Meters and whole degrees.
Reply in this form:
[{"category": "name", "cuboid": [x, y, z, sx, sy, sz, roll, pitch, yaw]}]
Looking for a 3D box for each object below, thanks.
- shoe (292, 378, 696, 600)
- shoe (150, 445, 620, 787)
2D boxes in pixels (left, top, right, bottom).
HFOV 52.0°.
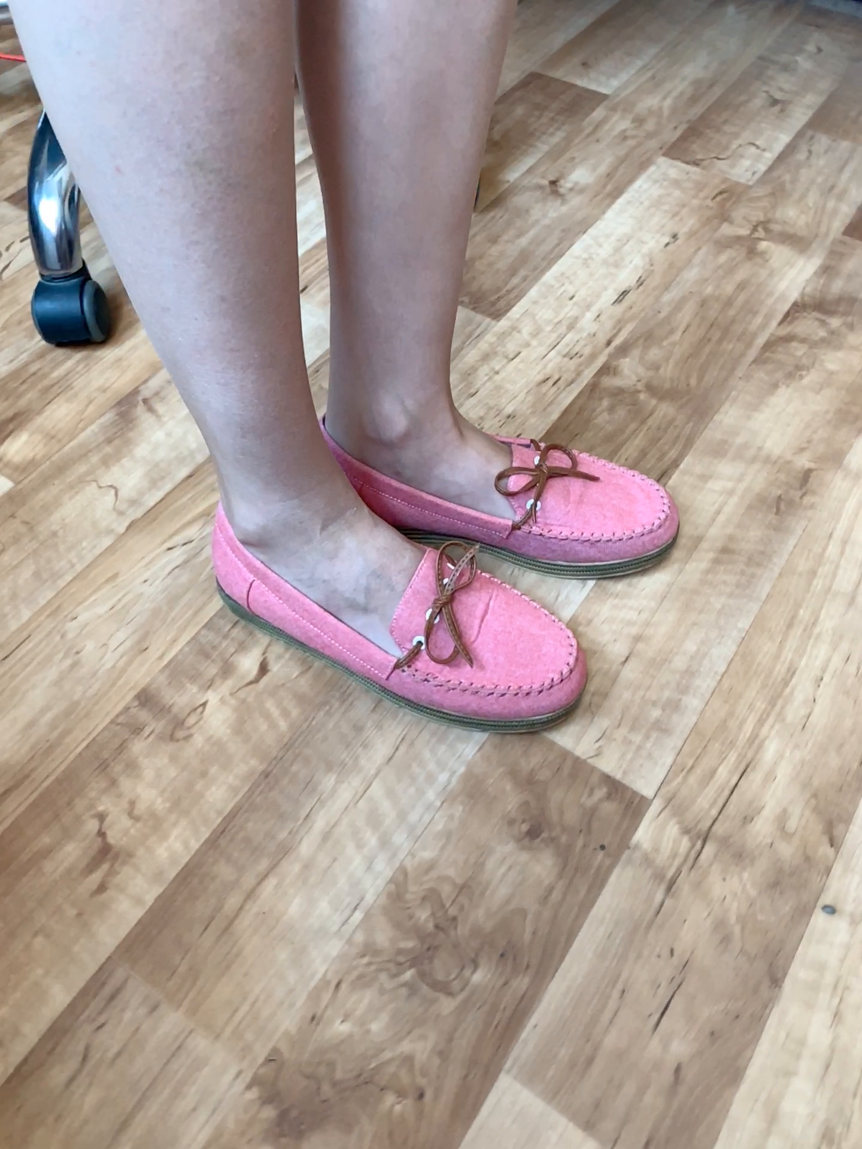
[{"category": "shoe", "cuboid": [0.043, -0.061, 0.602, 0.250, 0.060, 0.090, 12, 56, 9]}, {"category": "shoe", "cuboid": [-0.029, 0.018, 0.542, 0.260, 0.060, 0.100, 23, 59, 16]}]
